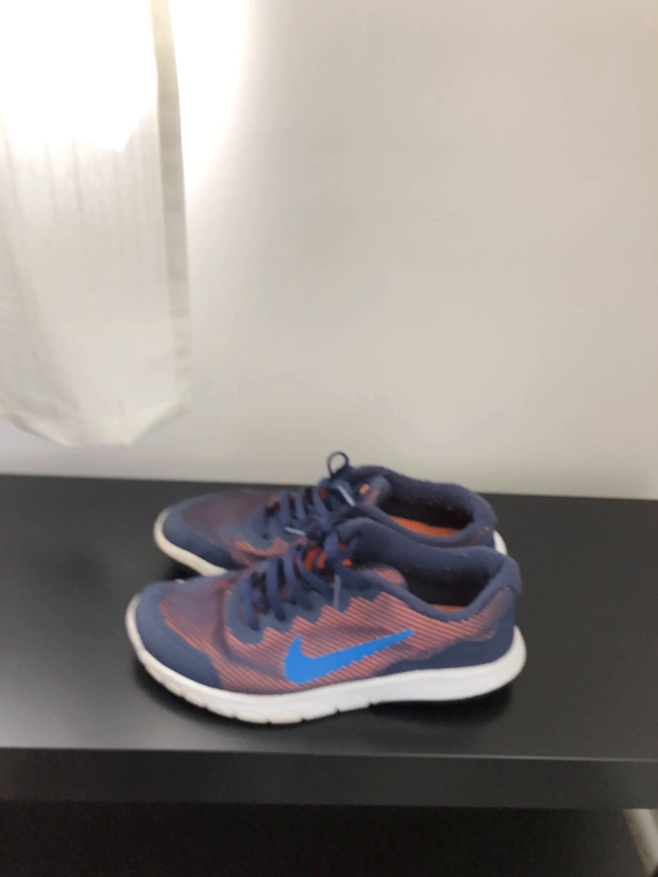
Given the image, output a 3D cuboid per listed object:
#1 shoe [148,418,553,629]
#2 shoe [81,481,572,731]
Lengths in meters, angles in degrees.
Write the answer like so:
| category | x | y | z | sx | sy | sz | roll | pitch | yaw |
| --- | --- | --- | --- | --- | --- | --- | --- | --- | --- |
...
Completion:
| category | x | y | z | sx | sy | sz | roll | pitch | yaw |
| --- | --- | --- | --- | --- | --- | --- | --- | --- | --- |
| shoe | 0.012 | 0.059 | 0.535 | 0.260 | 0.089 | 0.100 | 5 | 31 | -1 |
| shoe | -0.005 | 0.100 | 0.461 | 0.260 | 0.089 | 0.120 | 1 | 32 | -6 |
